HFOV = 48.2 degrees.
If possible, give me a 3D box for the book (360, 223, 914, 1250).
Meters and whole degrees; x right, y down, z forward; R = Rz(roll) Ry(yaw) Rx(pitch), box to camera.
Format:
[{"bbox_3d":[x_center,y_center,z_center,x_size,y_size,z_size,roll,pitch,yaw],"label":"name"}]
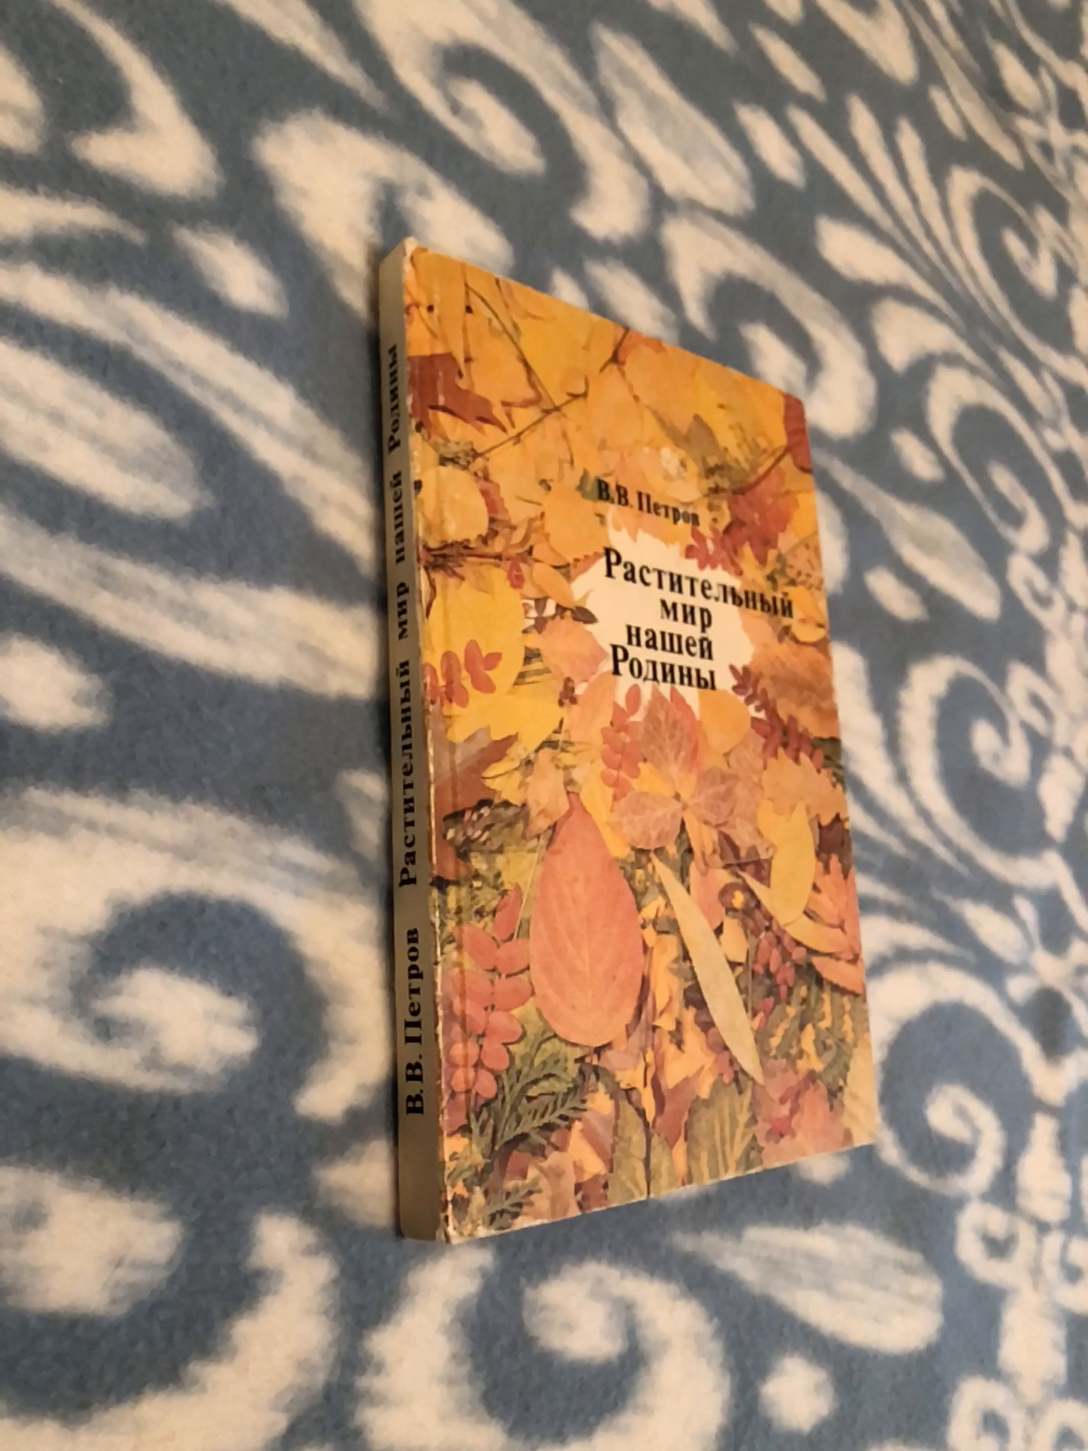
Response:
[{"bbox_3d":[0.029,0.002,0.301,0.157,0.020,0.208,7,75,-42],"label":"book"}]
